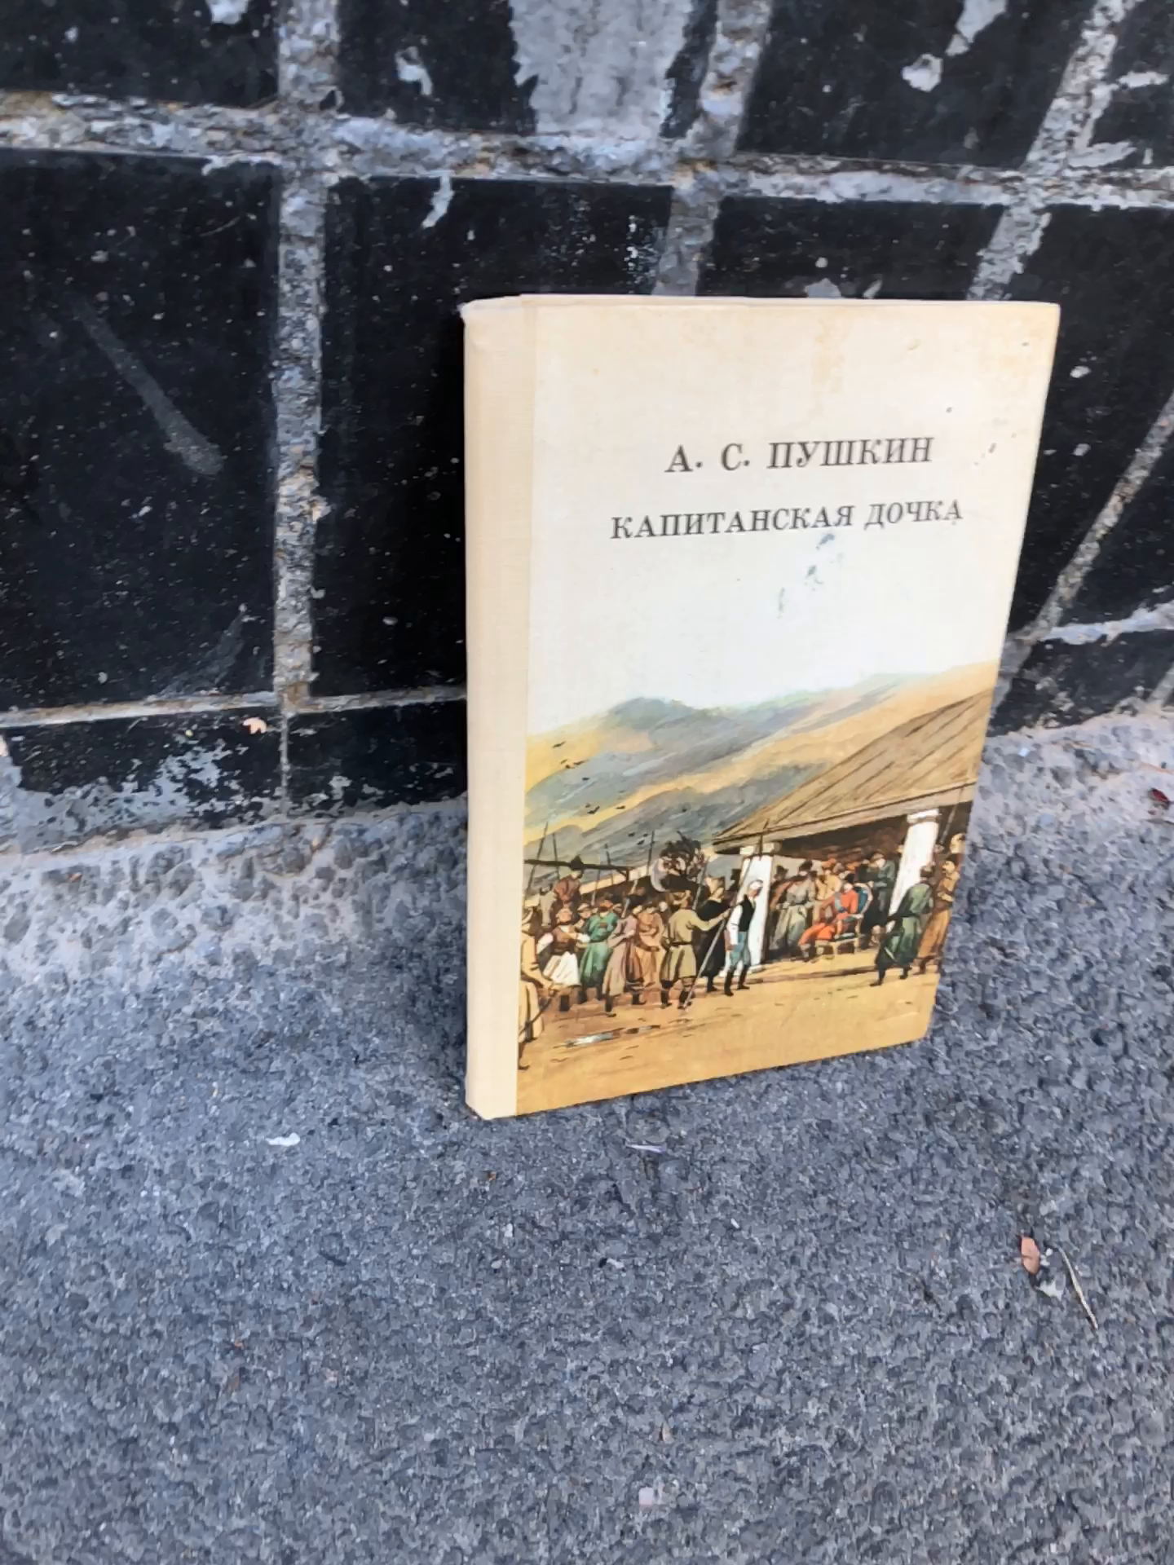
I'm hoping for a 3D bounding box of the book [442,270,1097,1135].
[{"bbox_3d":[0.038,-0.013,0.332,0.145,0.215,0.023,-6,29,-18],"label":"book"}]
